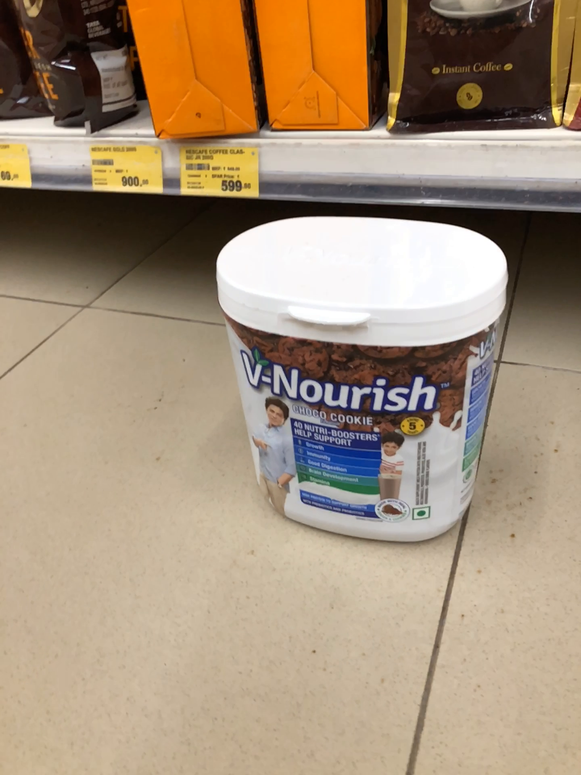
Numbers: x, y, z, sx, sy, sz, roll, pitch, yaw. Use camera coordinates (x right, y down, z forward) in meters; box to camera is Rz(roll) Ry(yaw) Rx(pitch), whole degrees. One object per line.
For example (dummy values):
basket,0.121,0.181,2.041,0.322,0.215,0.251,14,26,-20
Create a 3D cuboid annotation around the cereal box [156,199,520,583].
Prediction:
cereal box,0.032,-0.003,0.332,0.140,0.149,0.101,8,39,19
